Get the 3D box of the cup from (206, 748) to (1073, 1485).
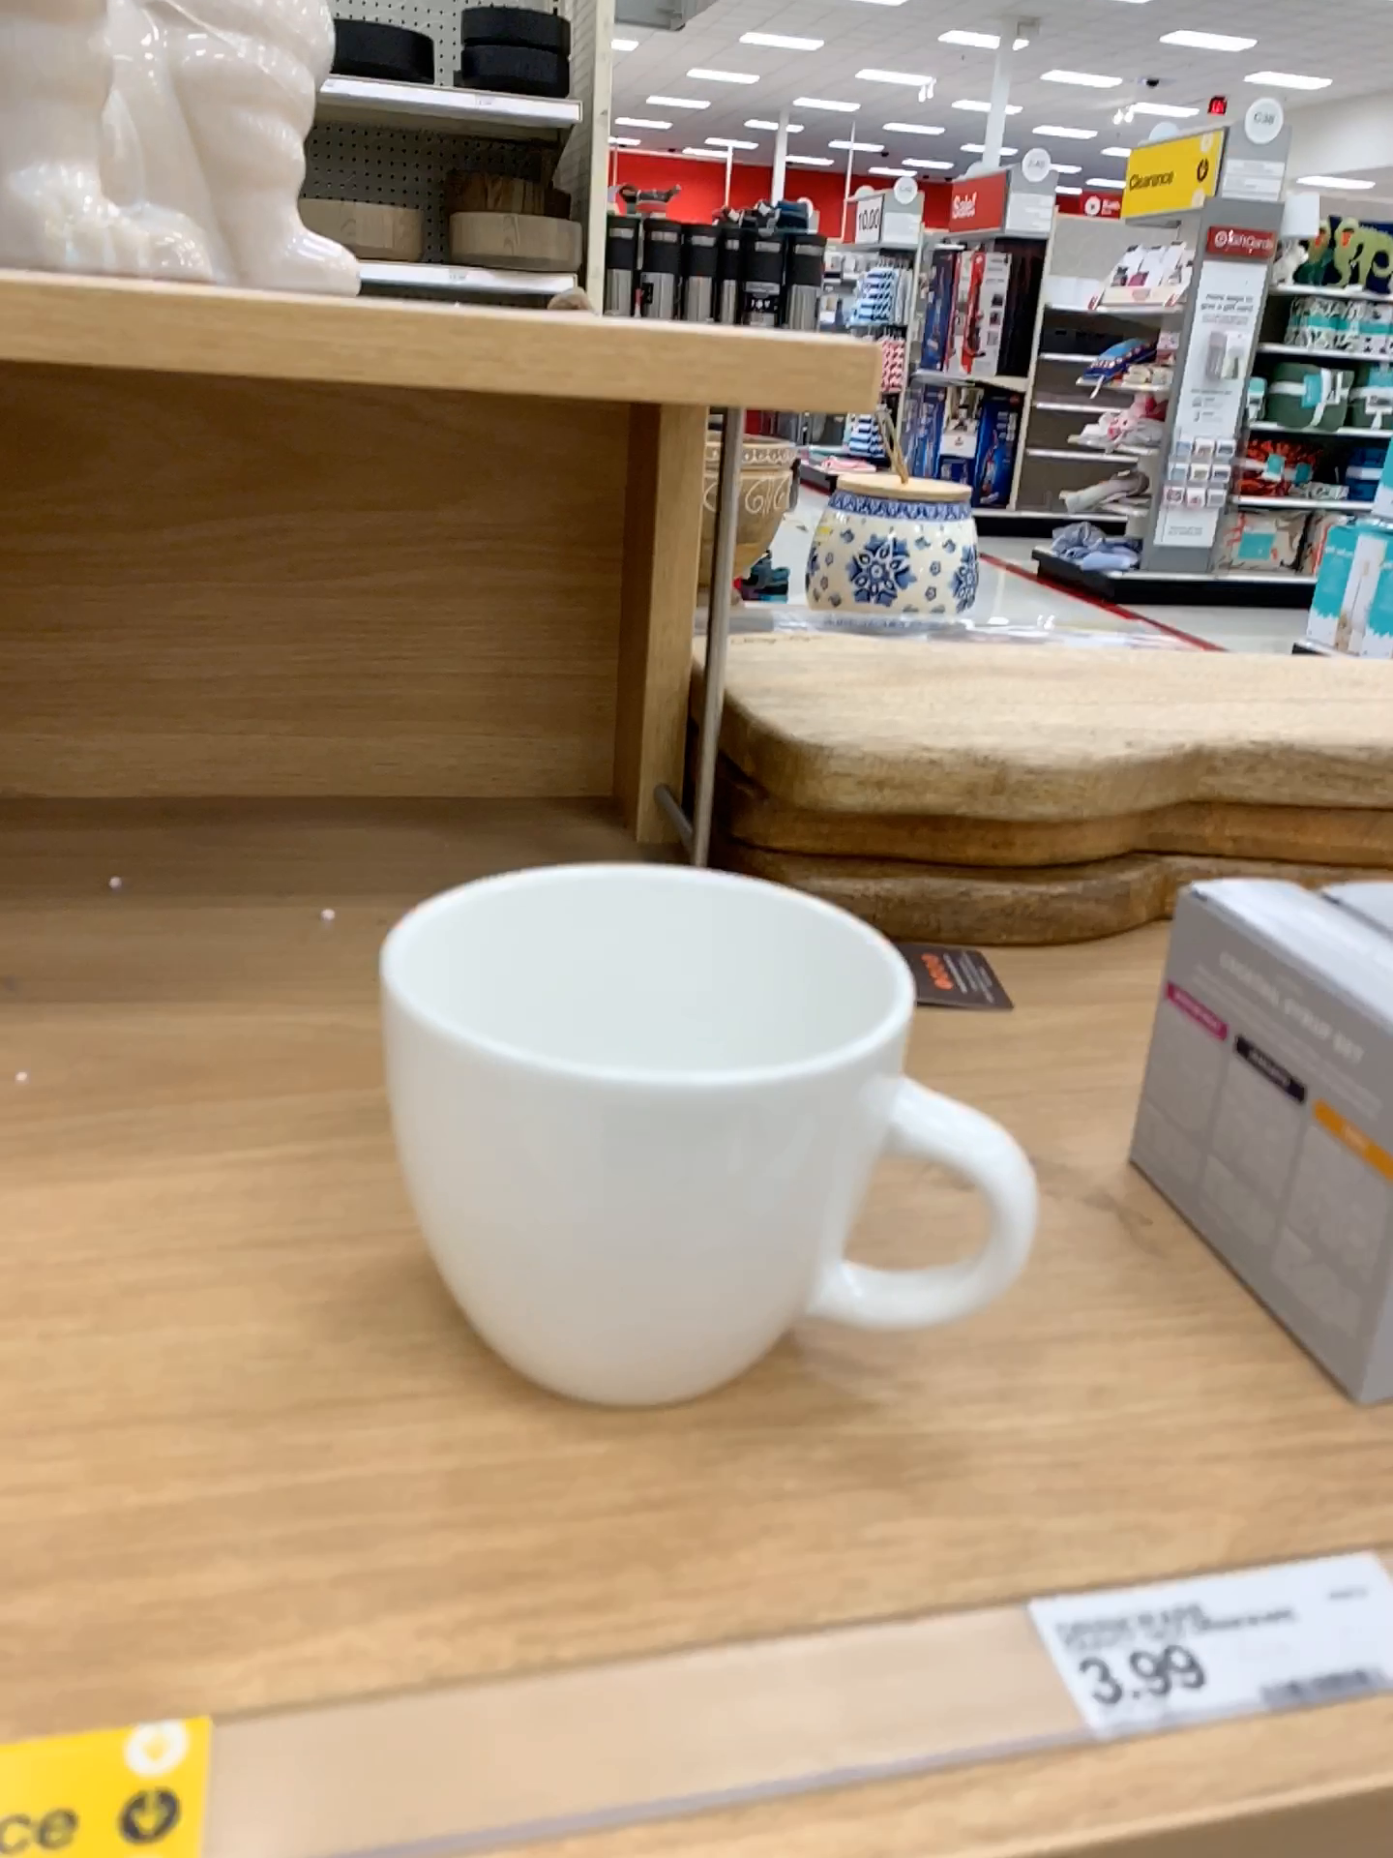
[{"bbox_3d":[-0.003,0.025,0.284,0.140,0.080,0.110,9,23,11],"label":"cup"}]
